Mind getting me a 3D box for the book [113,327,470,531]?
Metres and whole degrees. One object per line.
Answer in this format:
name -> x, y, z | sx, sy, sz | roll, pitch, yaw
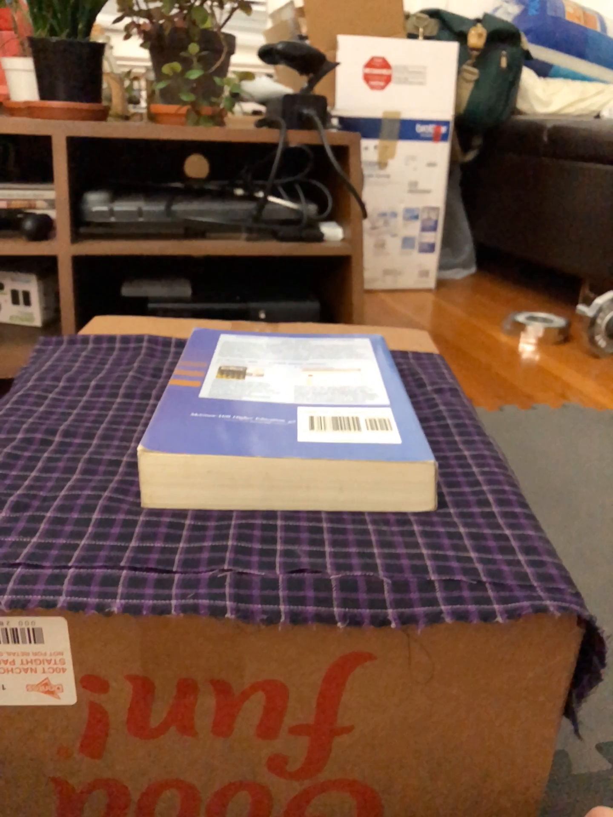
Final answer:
book -> -0.012, -0.001, 0.462 | 0.180, 0.040, 0.241 | 1, 23, -3
